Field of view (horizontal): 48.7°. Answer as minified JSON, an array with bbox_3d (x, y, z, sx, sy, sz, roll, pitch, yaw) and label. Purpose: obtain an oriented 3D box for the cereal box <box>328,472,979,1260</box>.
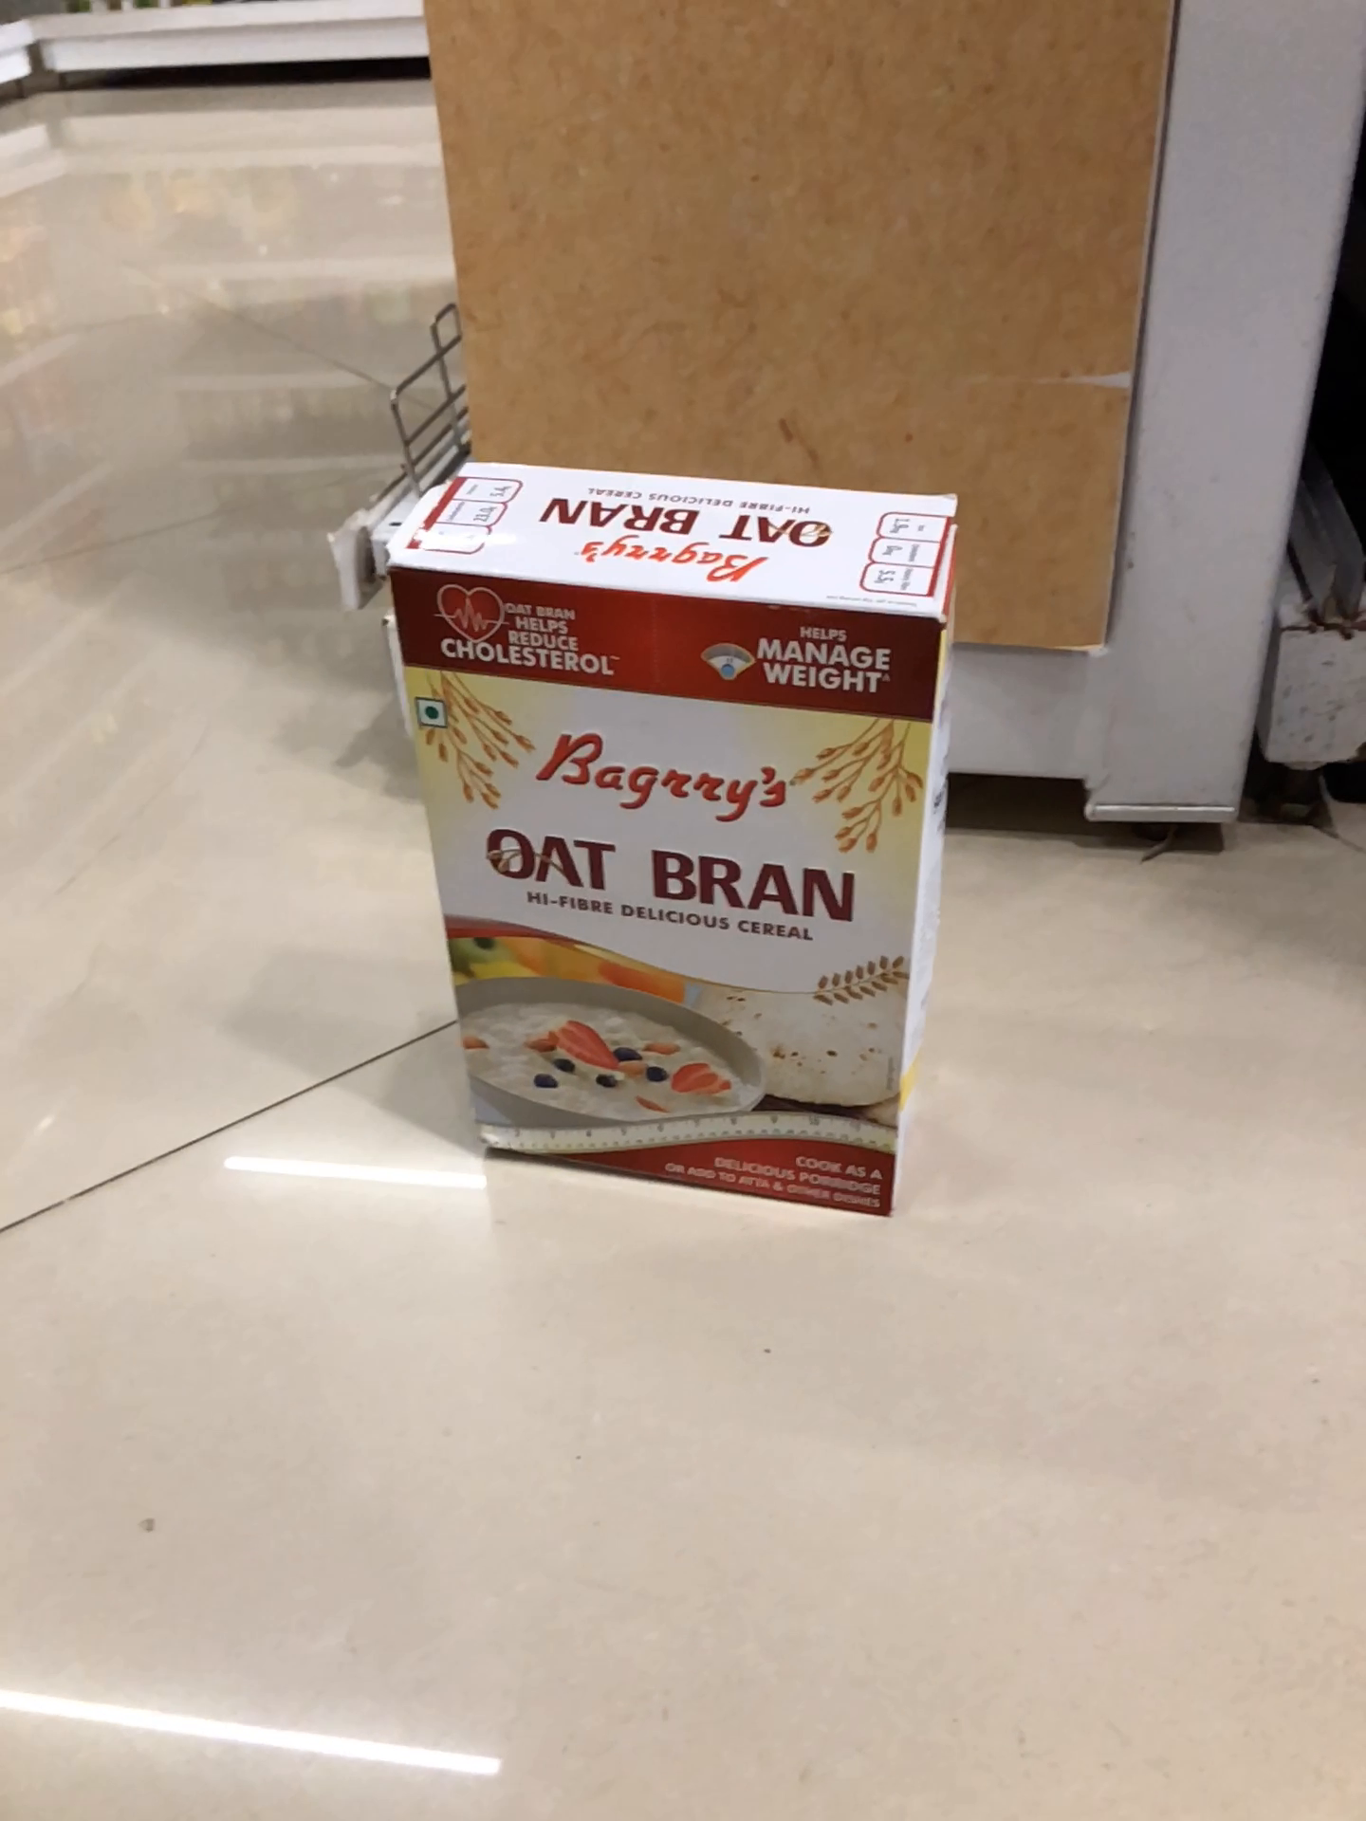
[{"bbox_3d":[-0.001,-0.009,0.433,0.150,0.209,0.060,8,37,16],"label":"cereal box"}]
